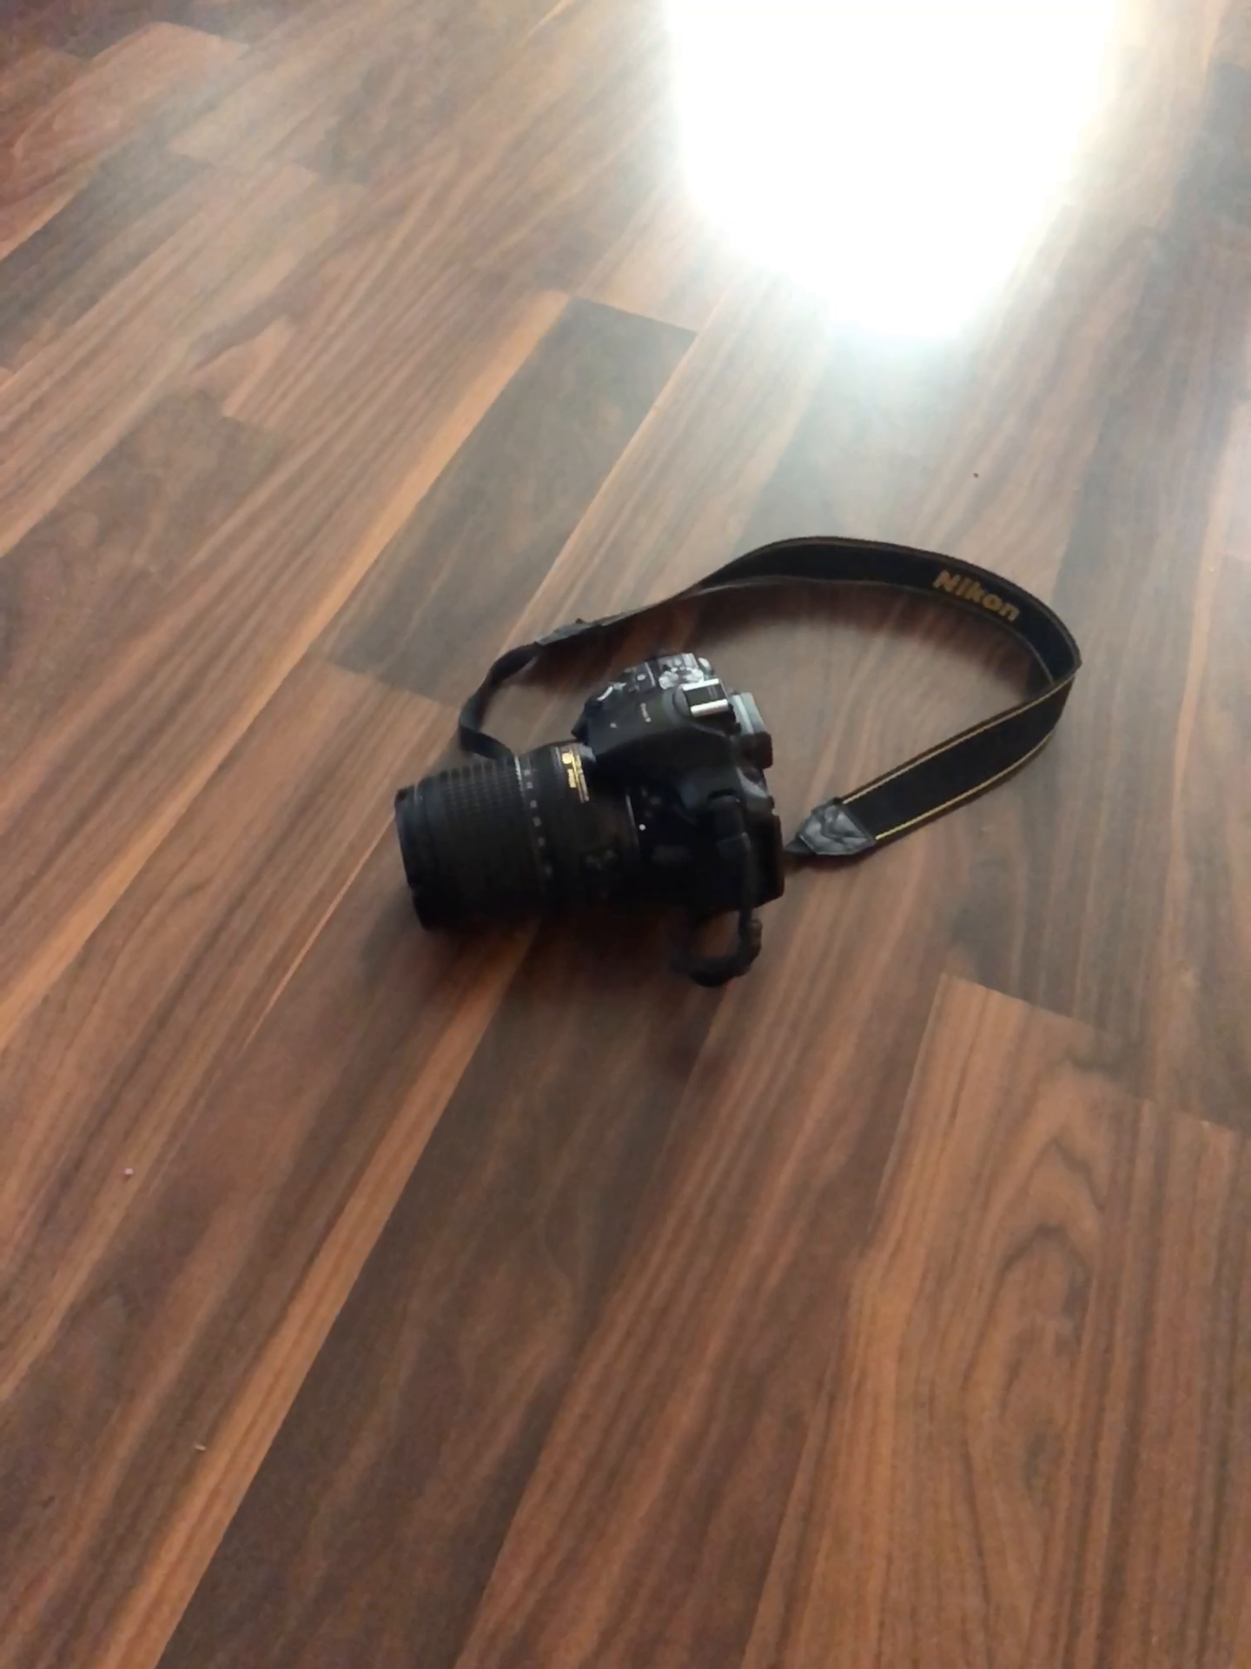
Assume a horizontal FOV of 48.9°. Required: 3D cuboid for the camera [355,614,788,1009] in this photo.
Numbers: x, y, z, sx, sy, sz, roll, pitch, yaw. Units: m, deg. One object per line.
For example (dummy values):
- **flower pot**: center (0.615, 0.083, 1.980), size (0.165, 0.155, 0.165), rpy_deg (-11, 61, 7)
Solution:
- **camera**: center (-0.028, -0.010, 0.684), size (0.180, 0.130, 0.110), rpy_deg (-10, 54, -7)
